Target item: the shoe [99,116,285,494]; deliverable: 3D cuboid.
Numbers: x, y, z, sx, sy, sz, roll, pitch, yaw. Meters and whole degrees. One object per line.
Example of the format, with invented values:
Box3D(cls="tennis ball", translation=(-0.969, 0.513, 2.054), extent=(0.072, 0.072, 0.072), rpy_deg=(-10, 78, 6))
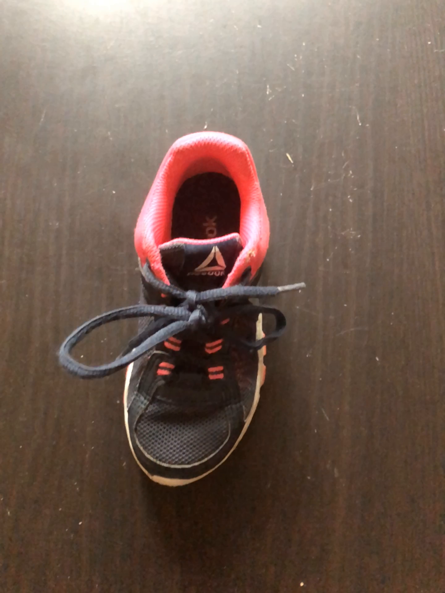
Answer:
Box3D(cls="shoe", translation=(-0.013, 0.004, 0.291), extent=(0.080, 0.070, 0.193), rpy_deg=(5, 80, -1))
